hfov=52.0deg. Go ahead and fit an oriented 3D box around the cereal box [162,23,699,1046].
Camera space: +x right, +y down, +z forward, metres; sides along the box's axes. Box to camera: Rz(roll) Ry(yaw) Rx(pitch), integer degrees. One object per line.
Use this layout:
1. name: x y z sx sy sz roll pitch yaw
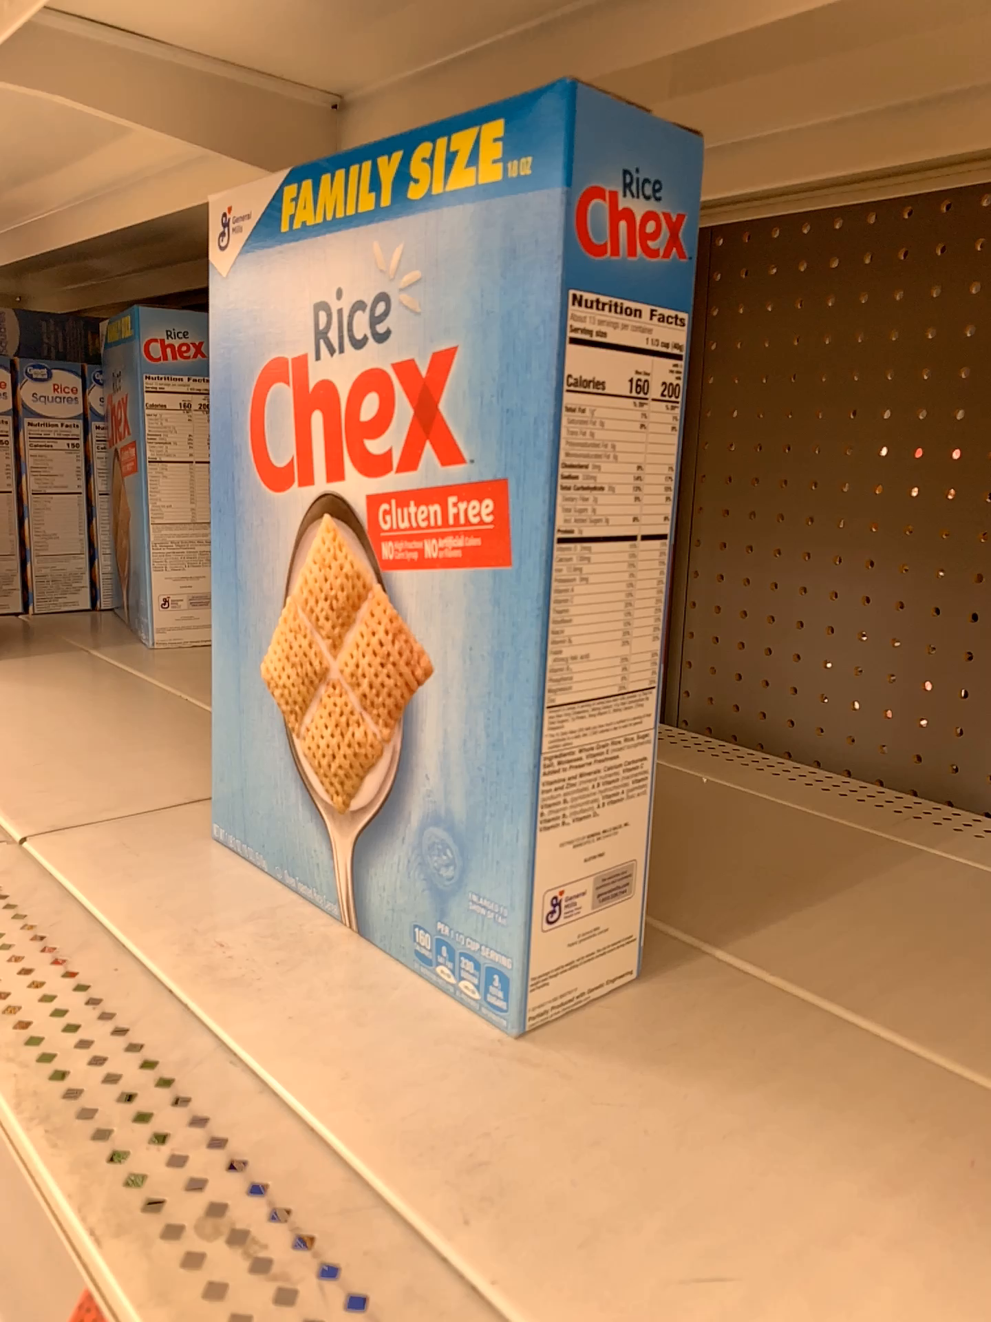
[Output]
1. cereal box: -0.049 -0.051 0.437 0.080 0.319 0.250 -8 15 -40
